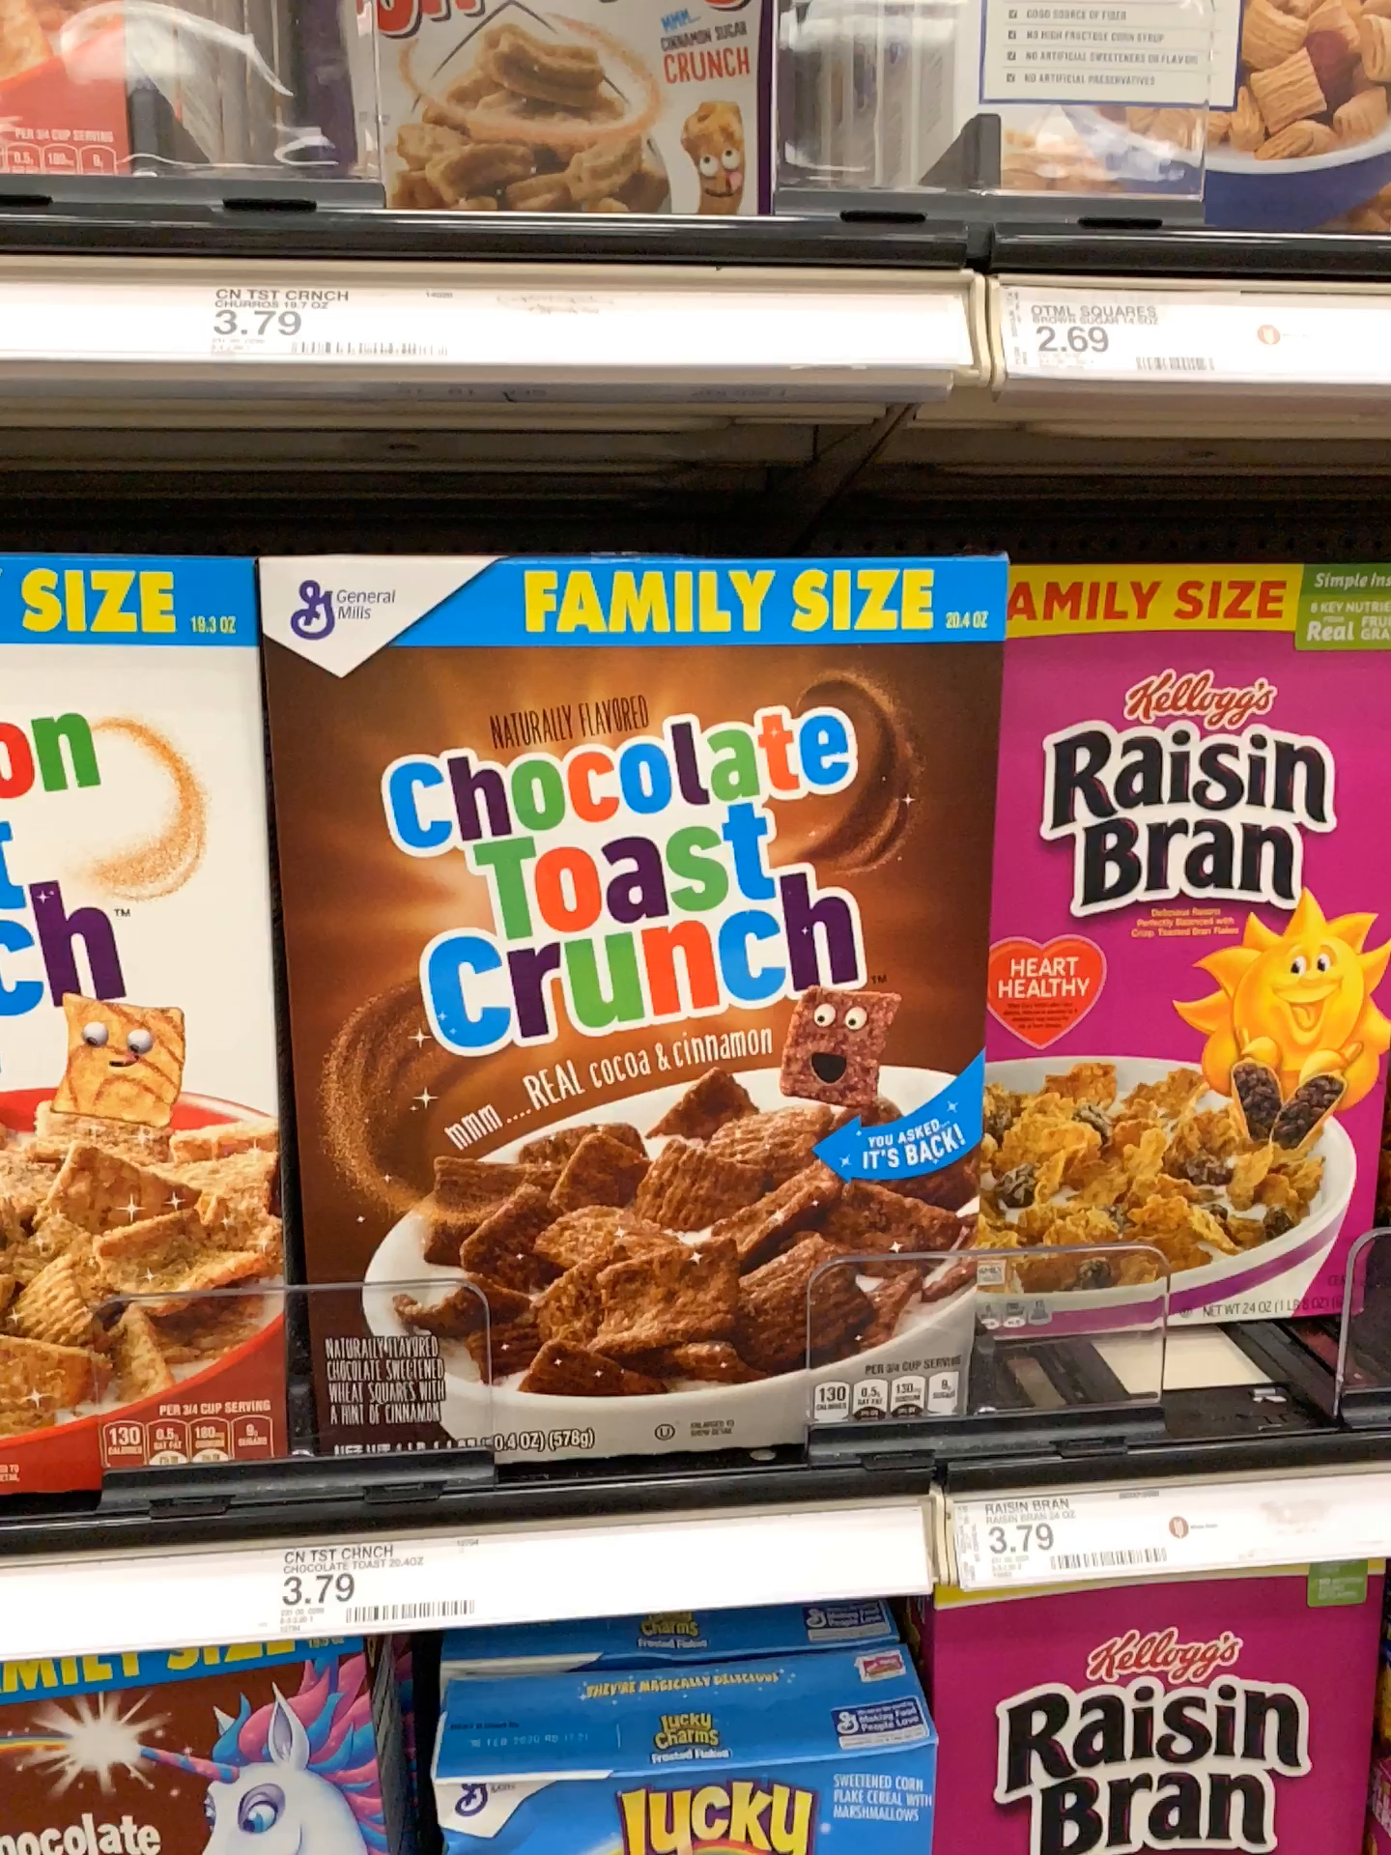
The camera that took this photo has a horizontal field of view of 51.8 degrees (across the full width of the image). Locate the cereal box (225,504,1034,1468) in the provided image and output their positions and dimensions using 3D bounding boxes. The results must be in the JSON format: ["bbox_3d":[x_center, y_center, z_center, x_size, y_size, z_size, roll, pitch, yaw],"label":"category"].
[{"bbox_3d":[-0.018,0.019,0.487,0.240,0.309,0.060,-2,13,-6],"label":"cereal box"}]
